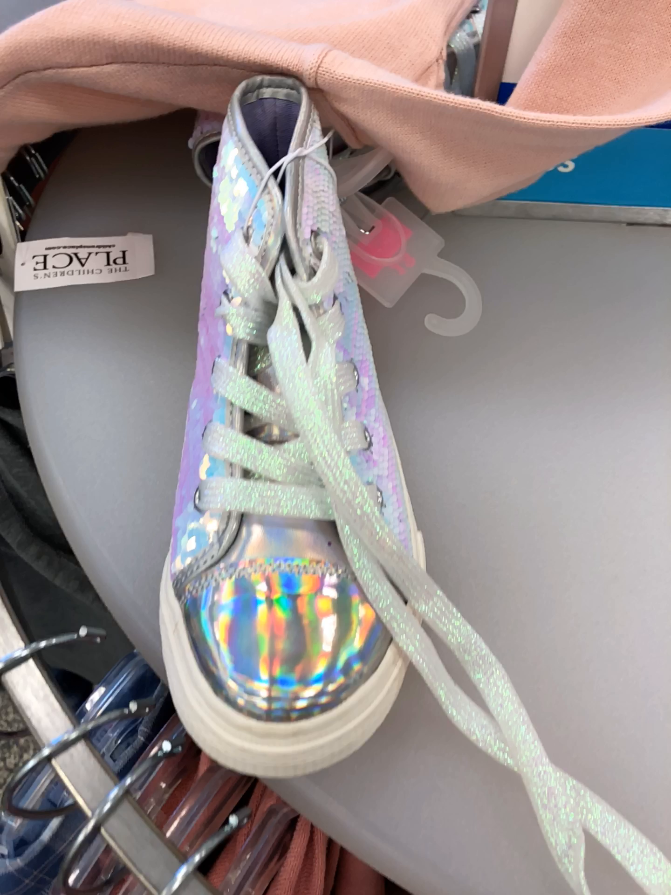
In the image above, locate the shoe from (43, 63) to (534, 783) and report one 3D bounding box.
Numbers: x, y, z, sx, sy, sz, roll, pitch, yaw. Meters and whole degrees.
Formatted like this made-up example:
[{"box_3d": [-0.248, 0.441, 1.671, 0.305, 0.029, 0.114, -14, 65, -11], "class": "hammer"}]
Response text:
[{"box_3d": [-0.014, -0.018, 0.243, 0.090, 0.105, 0.212, 0, 53, -3], "class": "shoe"}]
